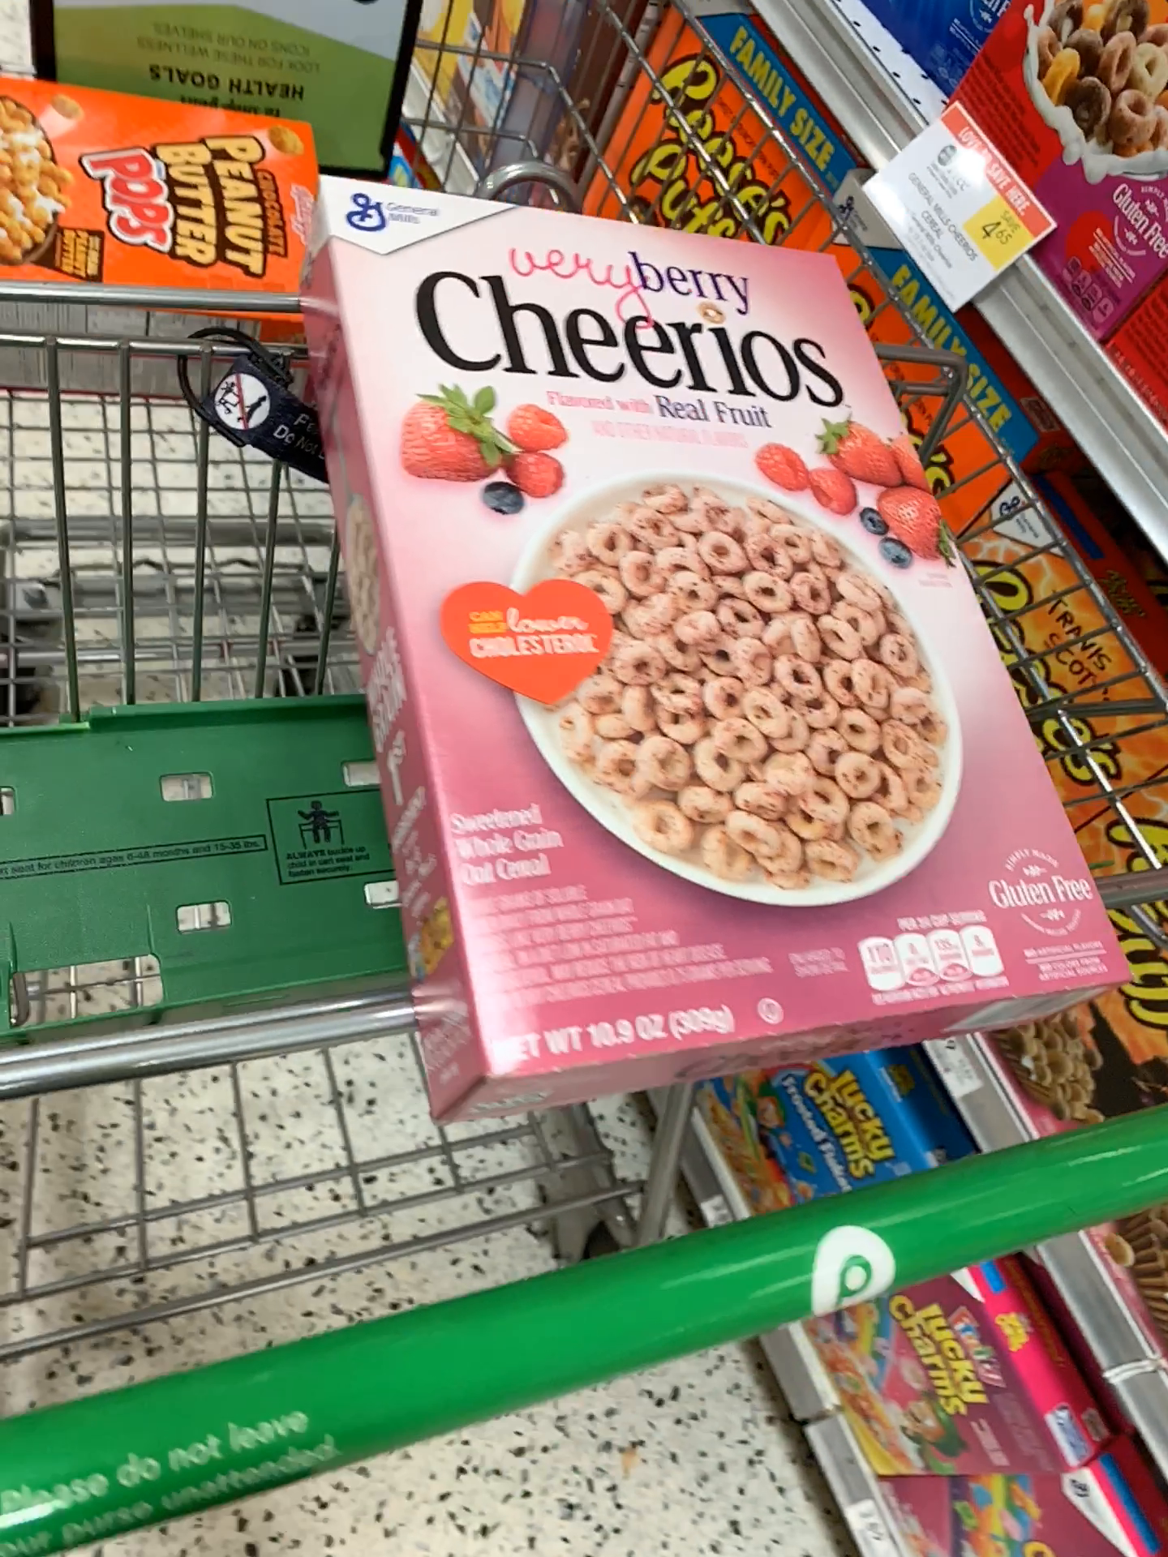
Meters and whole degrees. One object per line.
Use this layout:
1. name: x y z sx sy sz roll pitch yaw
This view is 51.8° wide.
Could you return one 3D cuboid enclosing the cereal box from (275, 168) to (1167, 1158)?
1. cereal box: 0.031 -0.050 0.374 0.211 0.060 0.281 -3 65 -24
